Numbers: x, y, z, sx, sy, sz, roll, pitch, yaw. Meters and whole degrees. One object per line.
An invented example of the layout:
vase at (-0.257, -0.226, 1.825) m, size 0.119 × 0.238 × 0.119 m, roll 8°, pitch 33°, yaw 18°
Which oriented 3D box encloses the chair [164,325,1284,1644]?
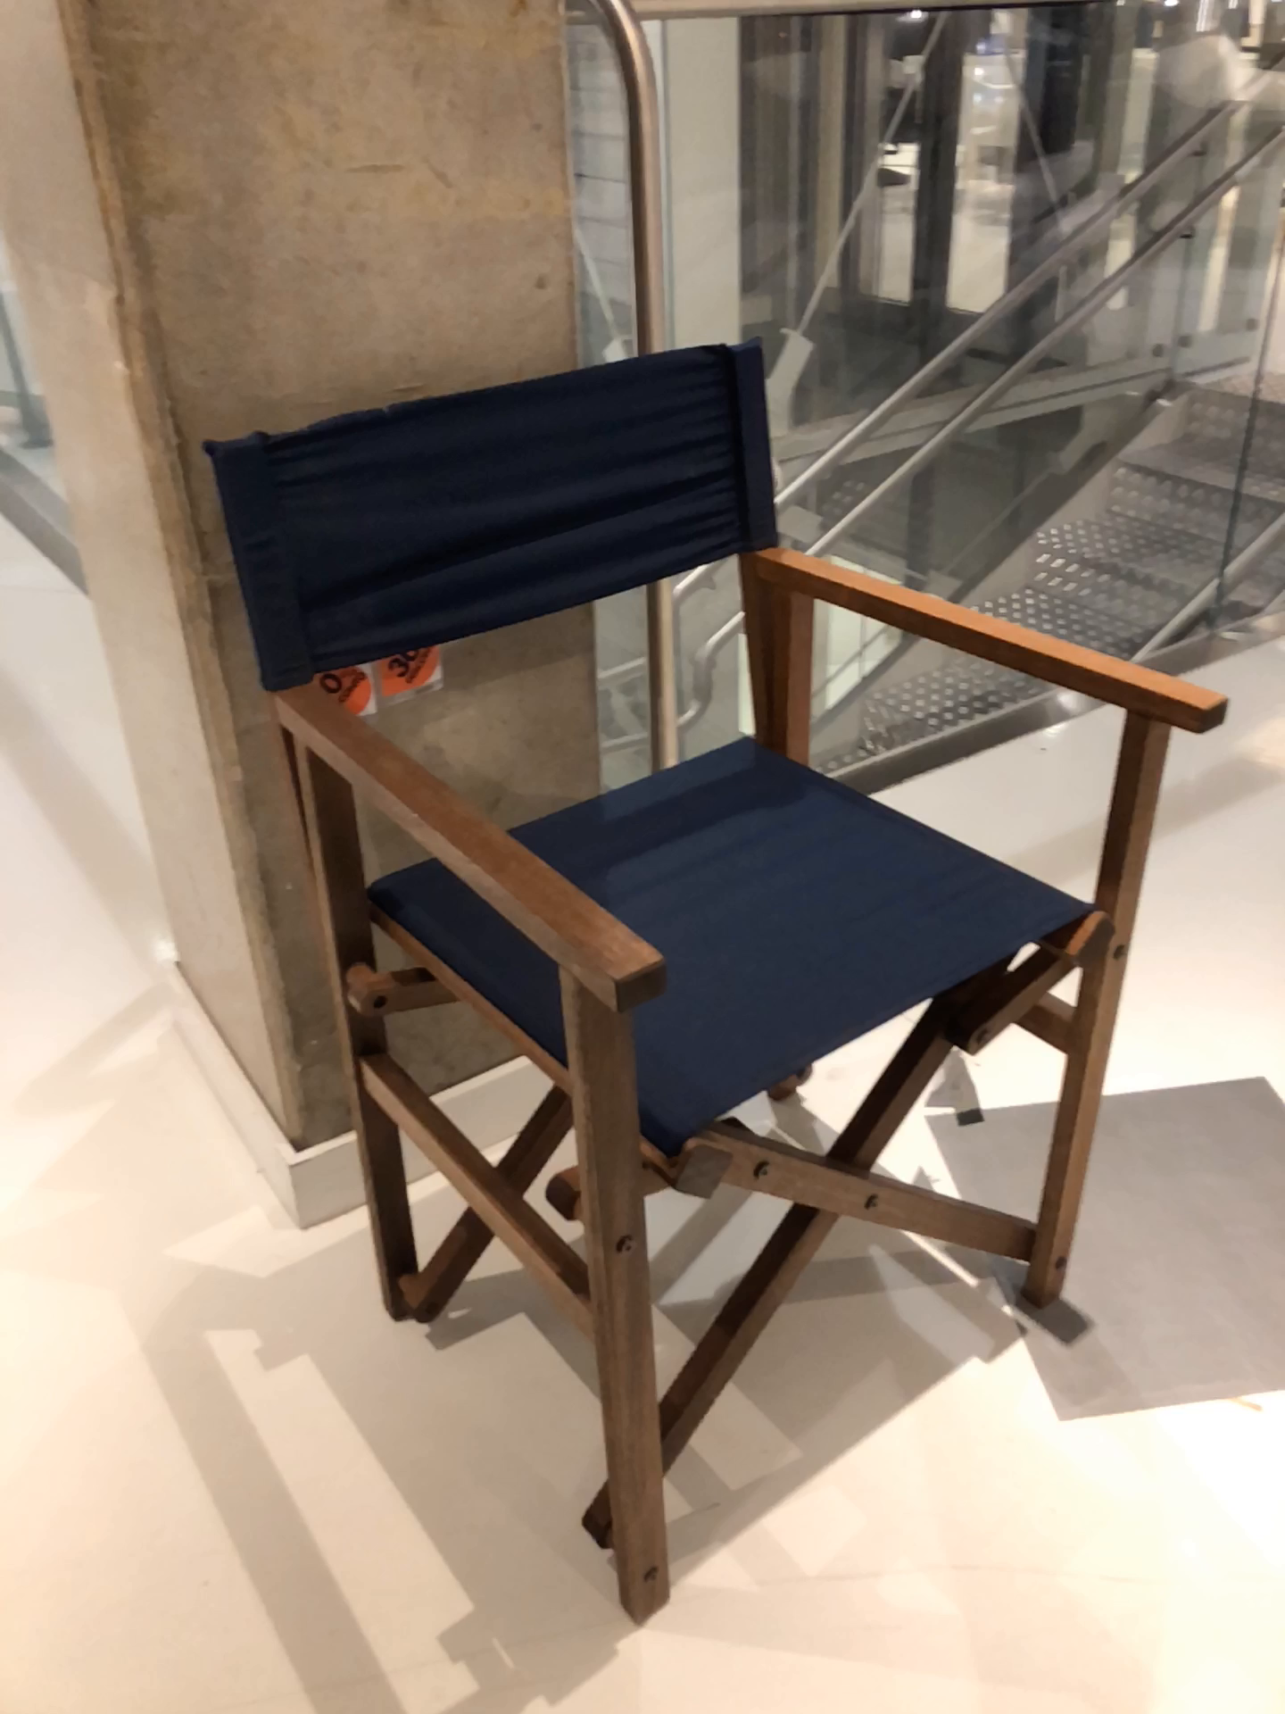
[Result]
chair at (0.058, 0.045, 1.151) m, size 0.582 × 0.774 × 0.503 m, roll -22°, pitch 35°, yaw -29°
